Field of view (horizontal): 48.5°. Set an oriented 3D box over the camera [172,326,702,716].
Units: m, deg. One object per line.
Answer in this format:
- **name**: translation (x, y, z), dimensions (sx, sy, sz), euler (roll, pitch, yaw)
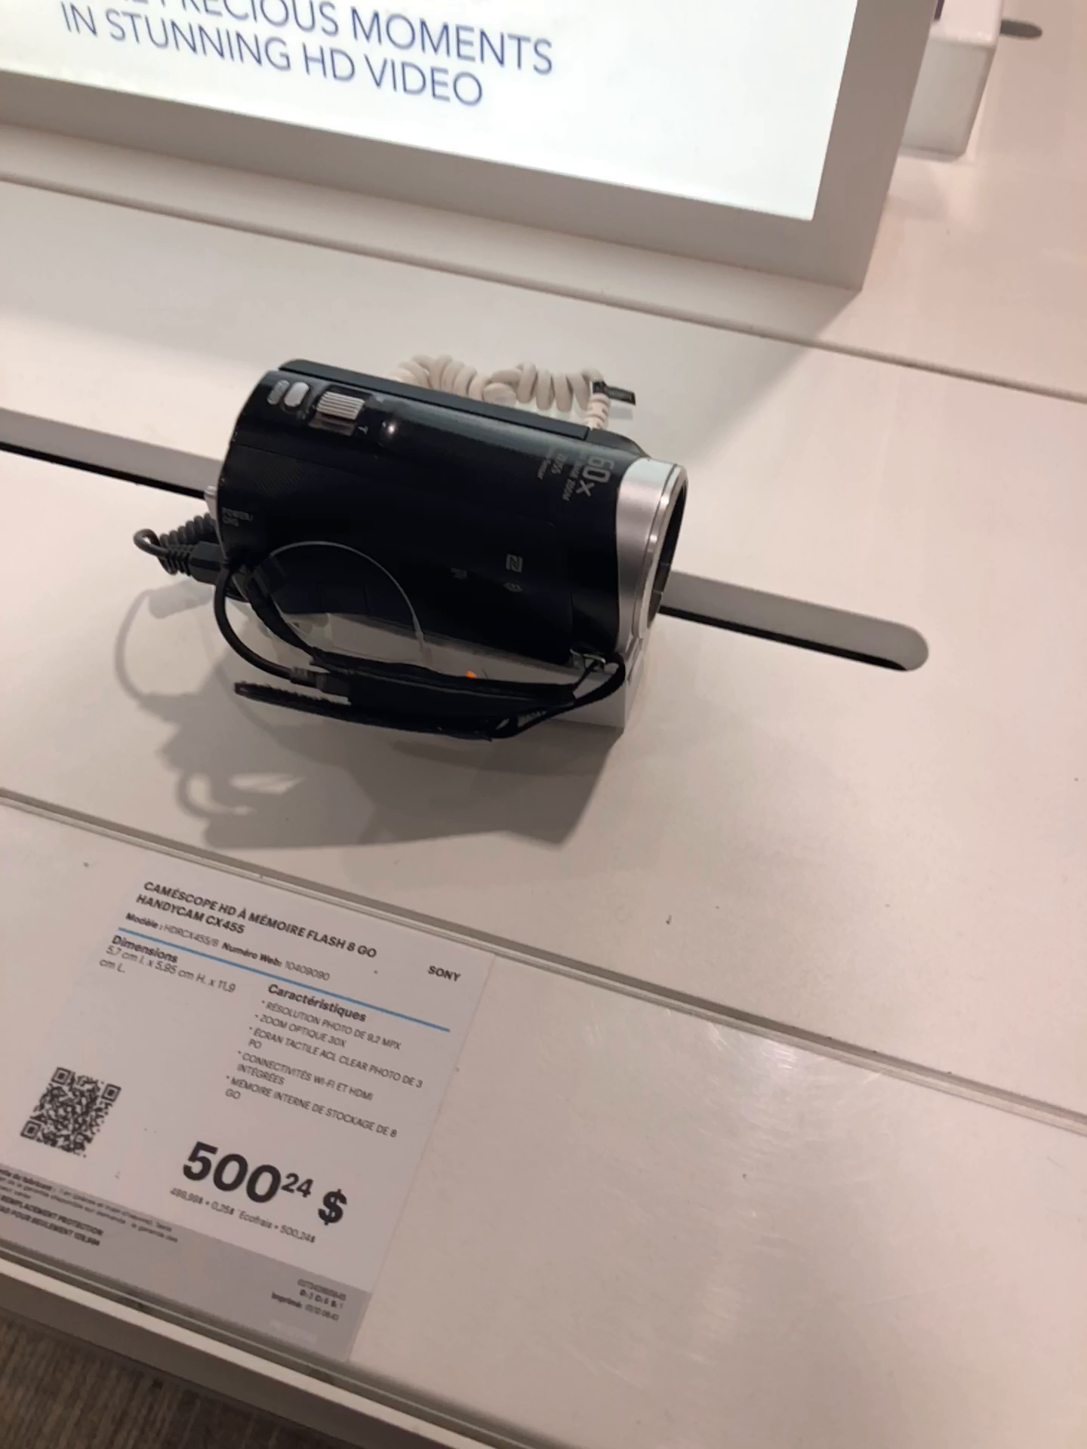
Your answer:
- **camera**: translation (-0.026, -0.055, 0.326), dimensions (0.121, 0.058, 0.057), euler (14, 55, 9)
